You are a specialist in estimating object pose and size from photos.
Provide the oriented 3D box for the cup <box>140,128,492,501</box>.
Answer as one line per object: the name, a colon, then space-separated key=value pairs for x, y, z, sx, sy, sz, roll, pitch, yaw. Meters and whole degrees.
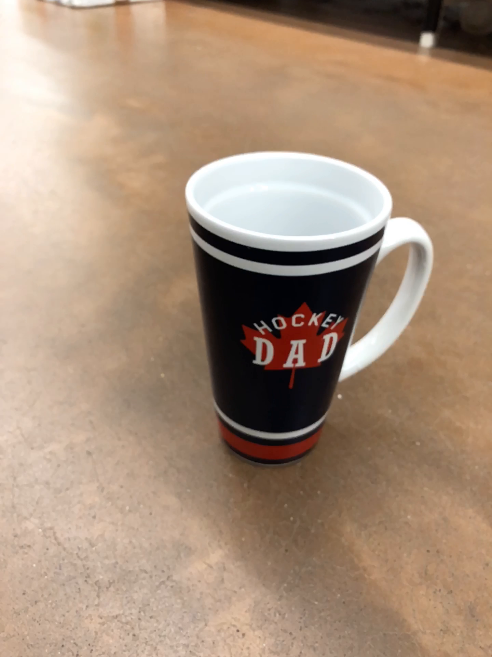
cup: x=0.030 y=-0.013 z=0.279 sx=0.130 sy=0.129 sz=0.090 roll=-17 pitch=42 yaw=-23
